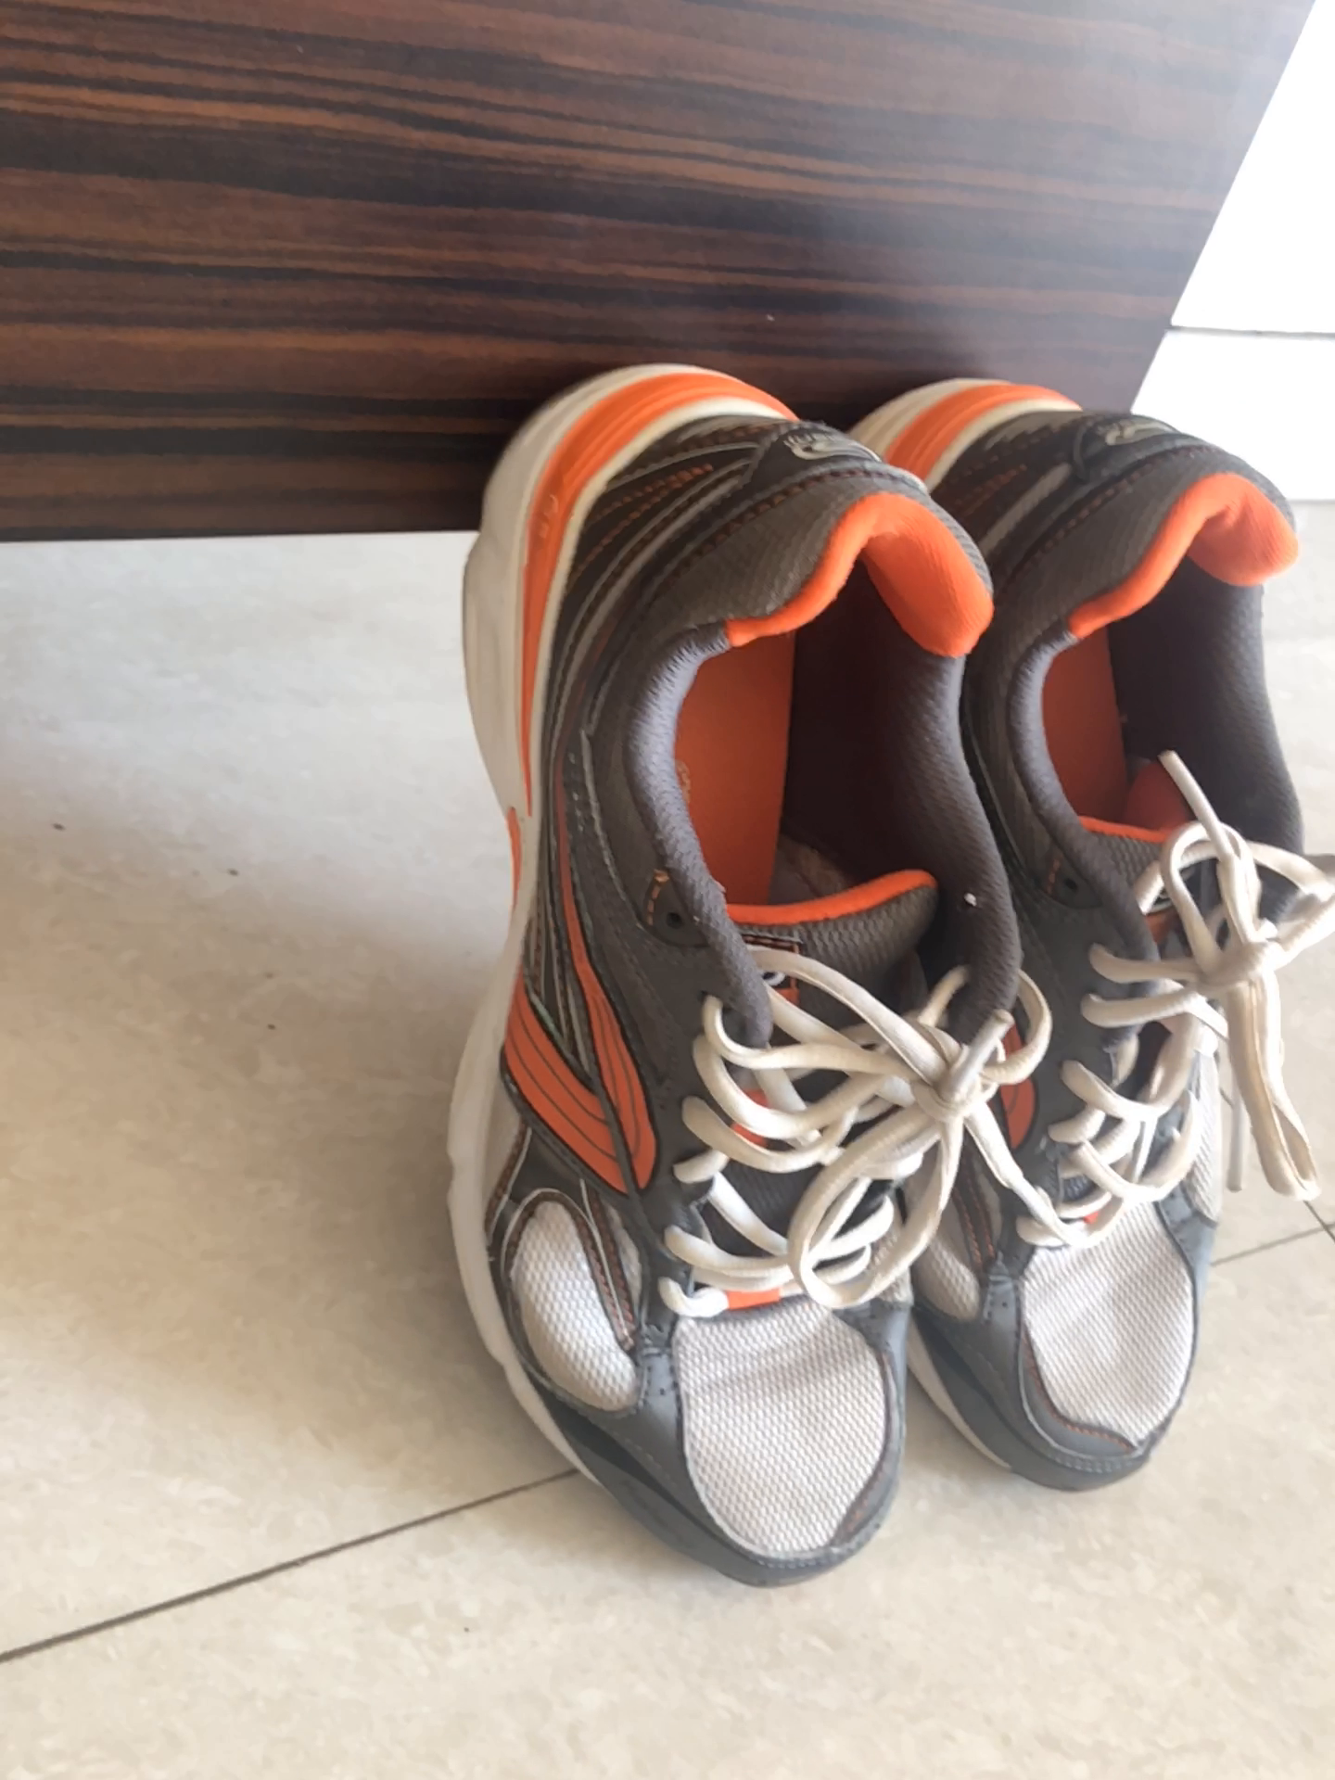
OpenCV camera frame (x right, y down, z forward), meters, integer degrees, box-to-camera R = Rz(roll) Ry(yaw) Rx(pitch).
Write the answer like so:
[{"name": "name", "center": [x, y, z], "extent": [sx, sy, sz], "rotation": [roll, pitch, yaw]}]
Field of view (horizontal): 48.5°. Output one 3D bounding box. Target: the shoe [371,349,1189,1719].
[{"name": "shoe", "center": [0.018, 0.025, 0.336], "extent": [0.120, 0.269, 0.100], "rotation": [-14, 27, -31]}]

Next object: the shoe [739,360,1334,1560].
[{"name": "shoe", "center": [0.098, 0.008, 0.373], "extent": [0.120, 0.259, 0.110], "rotation": [-11, 24, -24]}]
